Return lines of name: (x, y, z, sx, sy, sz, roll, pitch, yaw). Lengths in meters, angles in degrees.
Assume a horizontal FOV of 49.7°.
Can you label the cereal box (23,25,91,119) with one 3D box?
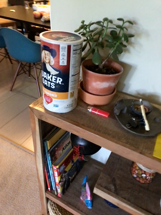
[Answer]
cereal box: (-0.075, -0.120, 0.583, 0.140, 0.248, 0.141, 28, 43, 28)
